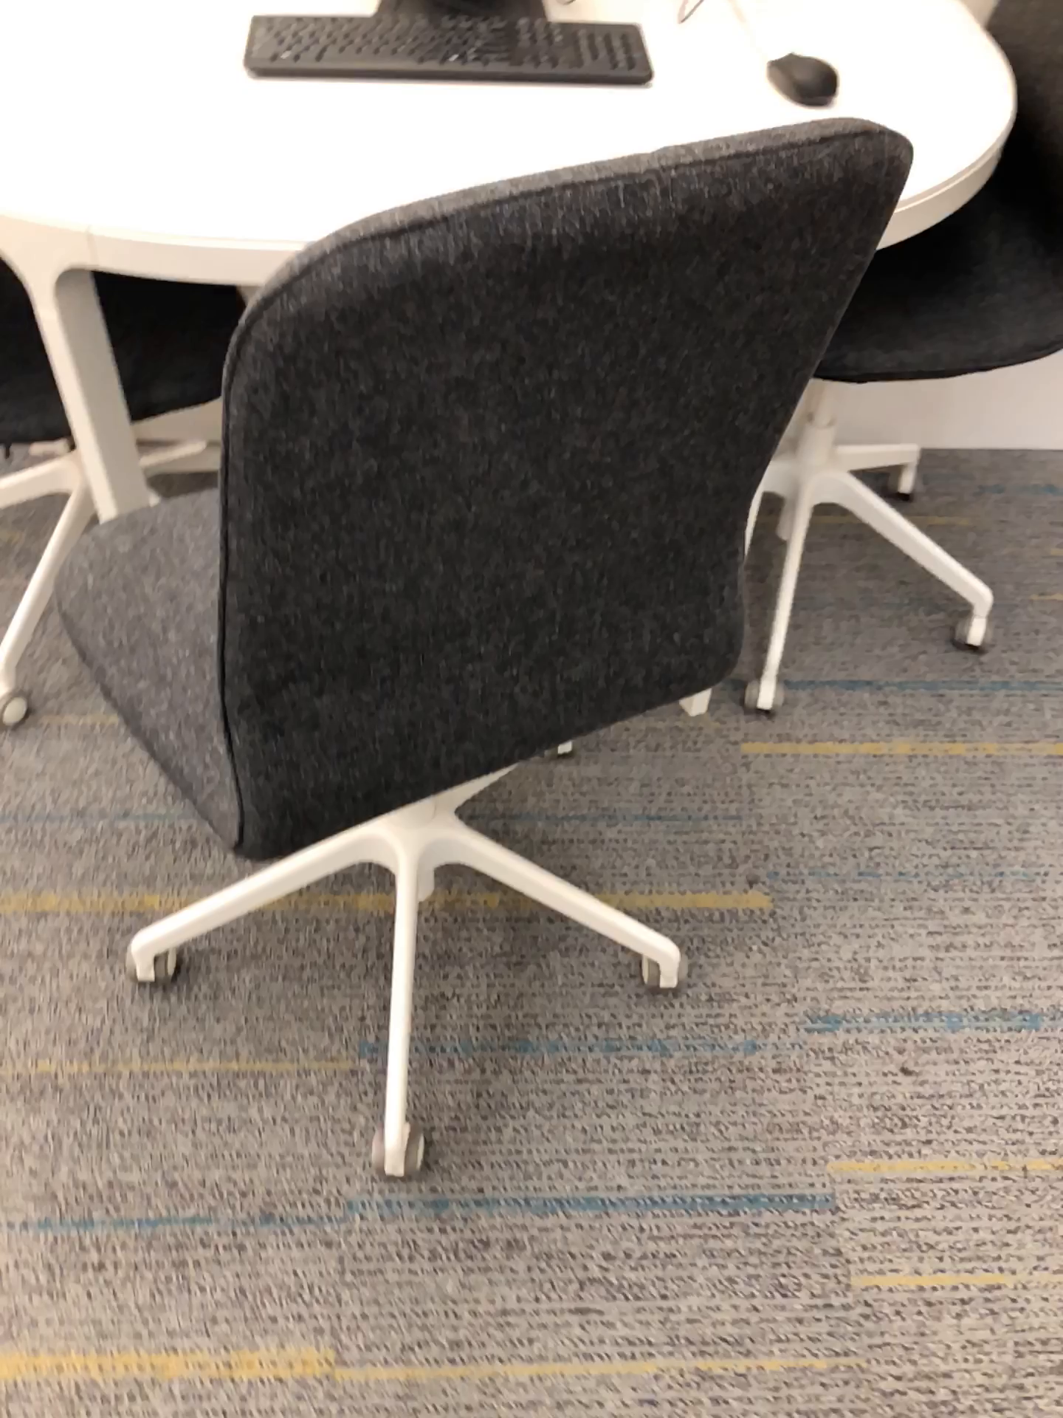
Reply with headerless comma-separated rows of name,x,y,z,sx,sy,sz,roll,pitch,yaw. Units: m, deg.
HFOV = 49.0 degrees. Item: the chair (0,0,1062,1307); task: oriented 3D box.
chair,-0.132,-0.078,1.022,0.631,0.994,0.633,-18,52,-19
